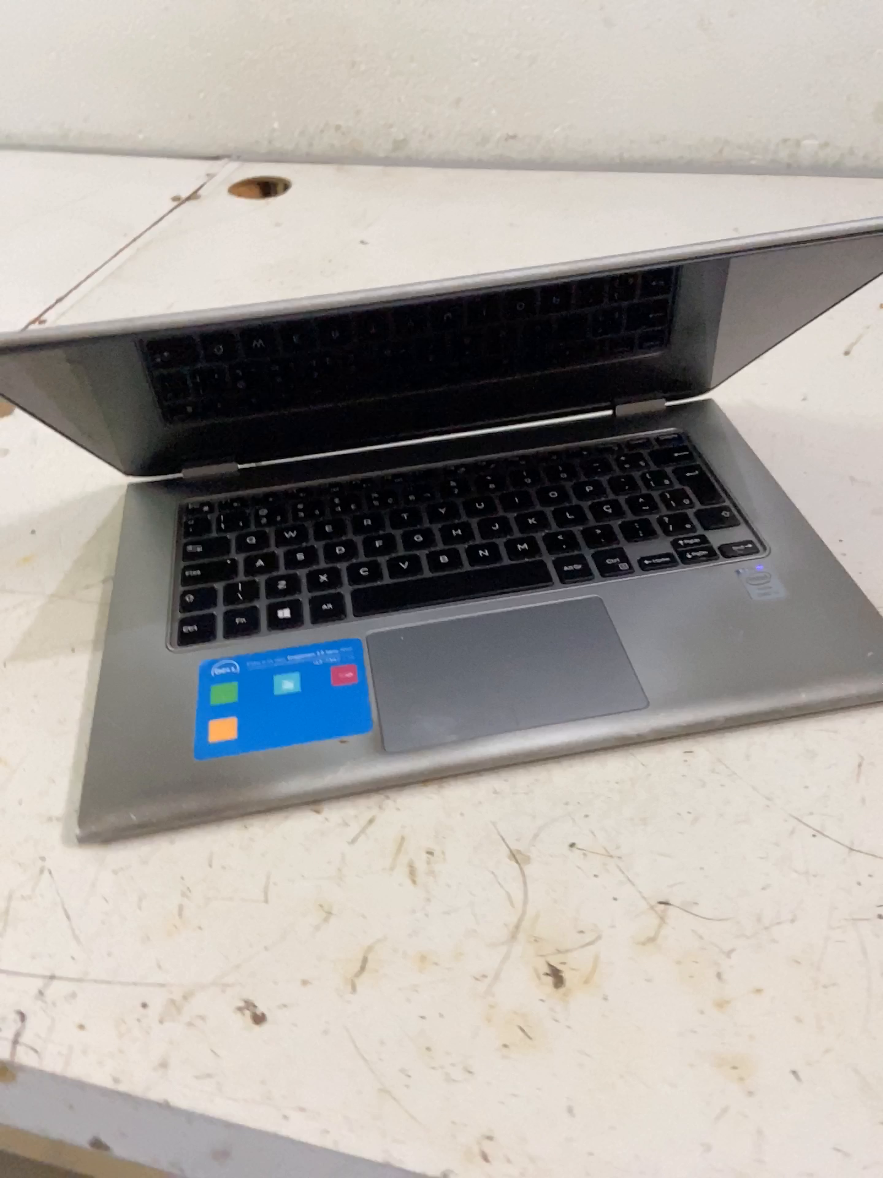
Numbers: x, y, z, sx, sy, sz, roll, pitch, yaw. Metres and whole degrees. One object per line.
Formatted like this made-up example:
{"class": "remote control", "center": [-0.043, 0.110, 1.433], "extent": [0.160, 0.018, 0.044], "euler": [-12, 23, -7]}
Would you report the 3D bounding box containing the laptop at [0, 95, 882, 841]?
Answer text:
{"class": "laptop", "center": [0.008, -0.067, 0.366], "extent": [0.326, 0.155, 0.219], "euler": [-9, 42, -5]}
